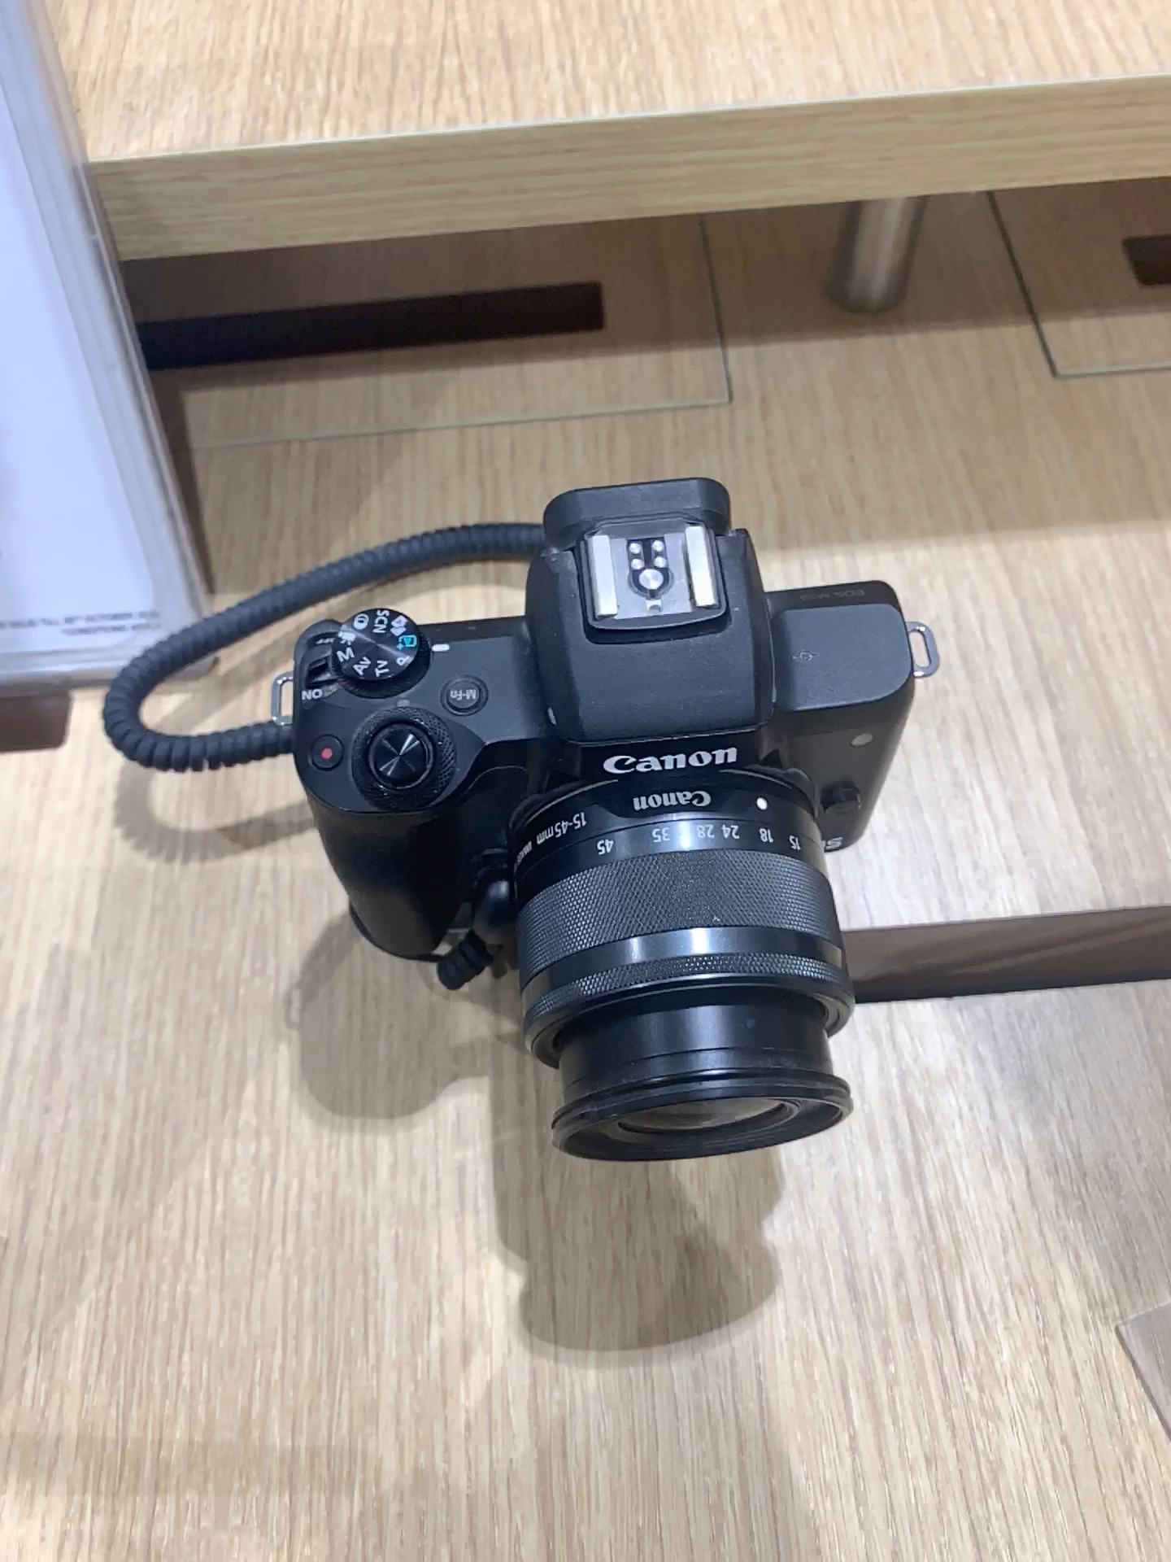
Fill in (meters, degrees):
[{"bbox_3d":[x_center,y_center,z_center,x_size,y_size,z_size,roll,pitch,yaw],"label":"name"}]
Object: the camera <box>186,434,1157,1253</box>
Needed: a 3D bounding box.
[{"bbox_3d":[0.008,0.018,0.218,0.120,0.100,0.100,-6,61,0],"label":"camera"}]
